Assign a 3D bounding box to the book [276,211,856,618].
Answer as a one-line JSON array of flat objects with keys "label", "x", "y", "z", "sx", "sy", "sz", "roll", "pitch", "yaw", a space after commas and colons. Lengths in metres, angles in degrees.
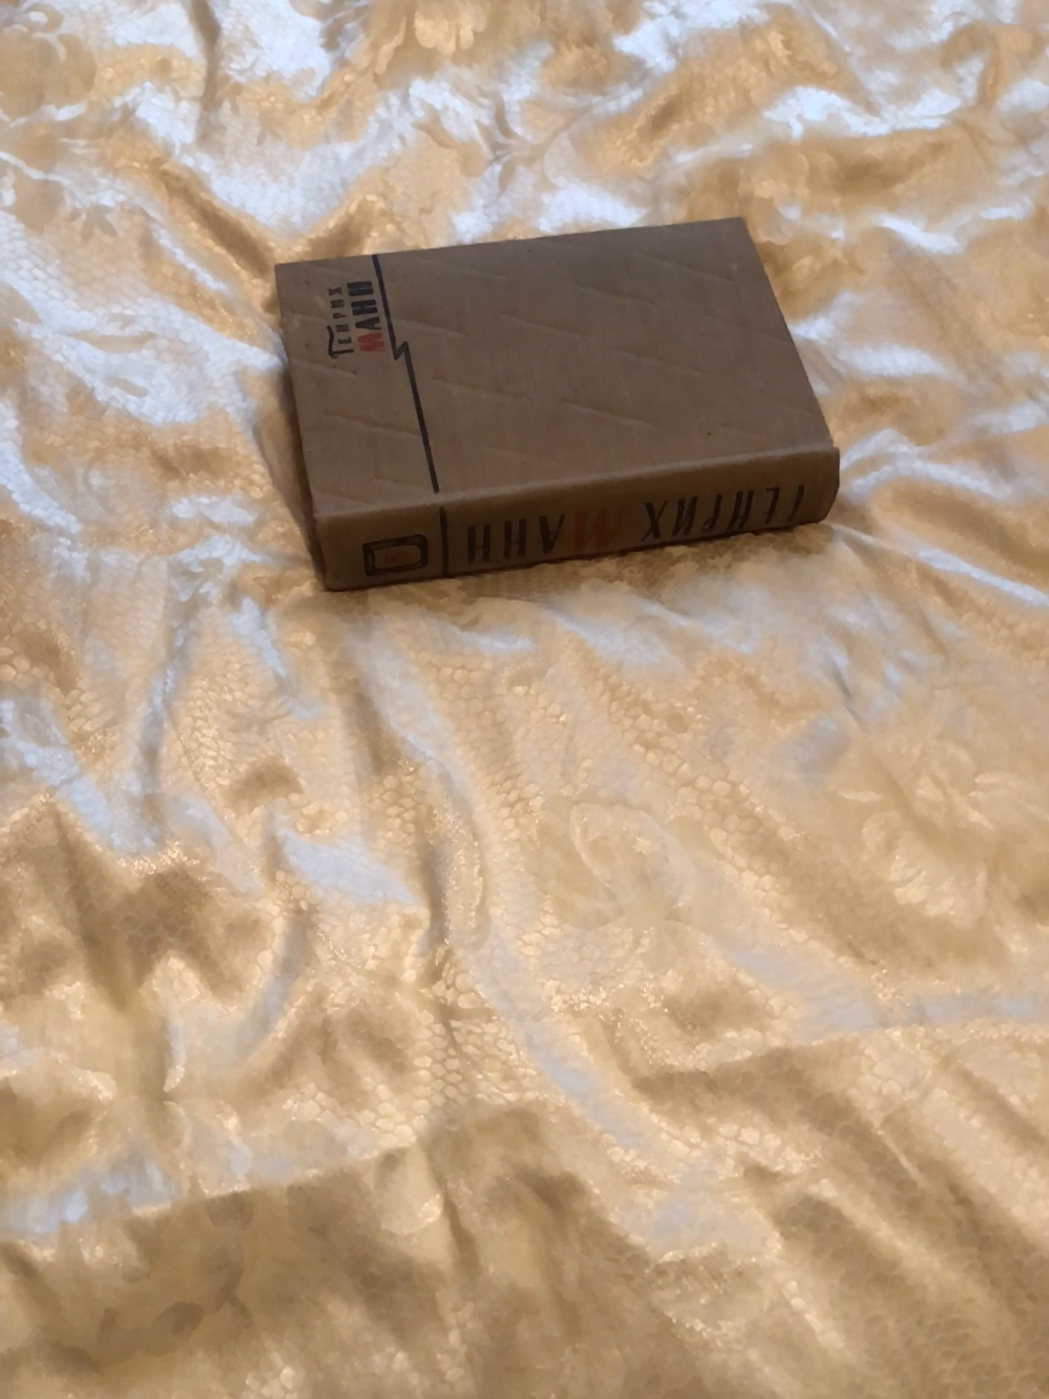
[{"label": "book", "x": 0.011, "y": -0.123, "z": 0.486, "sx": 0.208, "sy": 0.051, "sz": 0.142, "roll": -9, "pitch": 66, "yaw": -7}]
